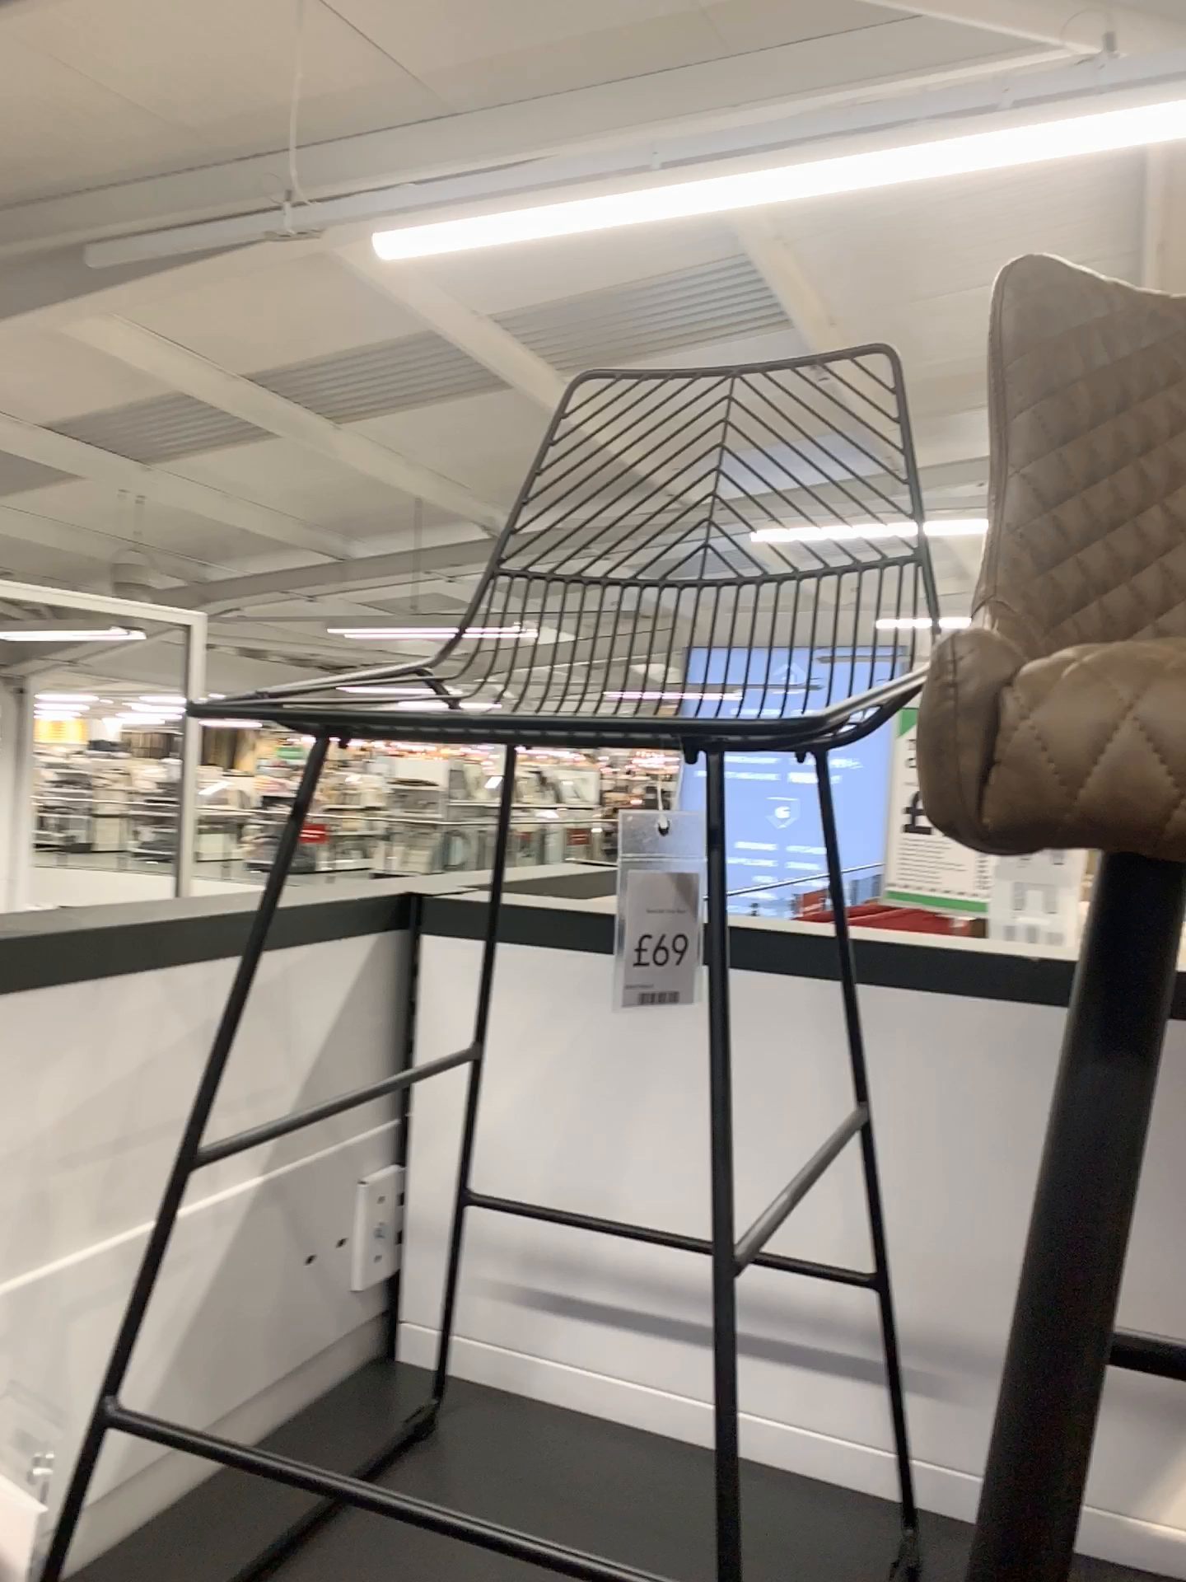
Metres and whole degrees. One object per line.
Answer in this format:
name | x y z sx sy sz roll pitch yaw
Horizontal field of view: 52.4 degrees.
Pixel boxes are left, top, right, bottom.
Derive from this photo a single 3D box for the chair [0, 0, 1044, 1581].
chair | -0.003 0.081 0.801 0.505 0.964 0.529 3 -1 23
